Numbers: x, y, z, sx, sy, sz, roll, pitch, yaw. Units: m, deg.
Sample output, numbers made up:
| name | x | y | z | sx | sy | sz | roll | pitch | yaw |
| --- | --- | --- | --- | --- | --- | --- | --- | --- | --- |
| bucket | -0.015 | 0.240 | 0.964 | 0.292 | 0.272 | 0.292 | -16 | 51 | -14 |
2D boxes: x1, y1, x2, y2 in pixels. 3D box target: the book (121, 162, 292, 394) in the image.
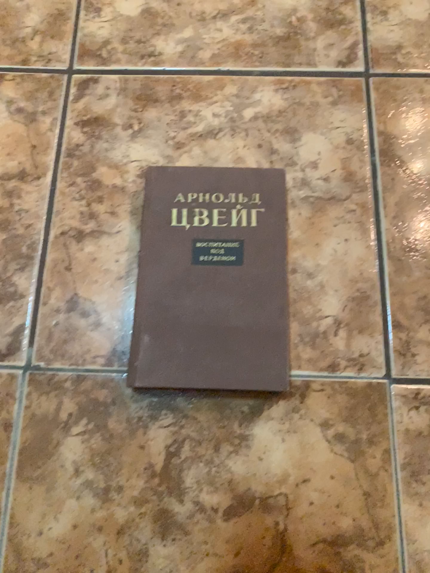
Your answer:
| name | x | y | z | sx | sy | sz | roll | pitch | yaw |
| --- | --- | --- | --- | --- | --- | --- | --- | --- | --- |
| book | -0.004 | -0.011 | 0.398 | 0.139 | 0.034 | 0.205 | 2 | 75 | 1 |
